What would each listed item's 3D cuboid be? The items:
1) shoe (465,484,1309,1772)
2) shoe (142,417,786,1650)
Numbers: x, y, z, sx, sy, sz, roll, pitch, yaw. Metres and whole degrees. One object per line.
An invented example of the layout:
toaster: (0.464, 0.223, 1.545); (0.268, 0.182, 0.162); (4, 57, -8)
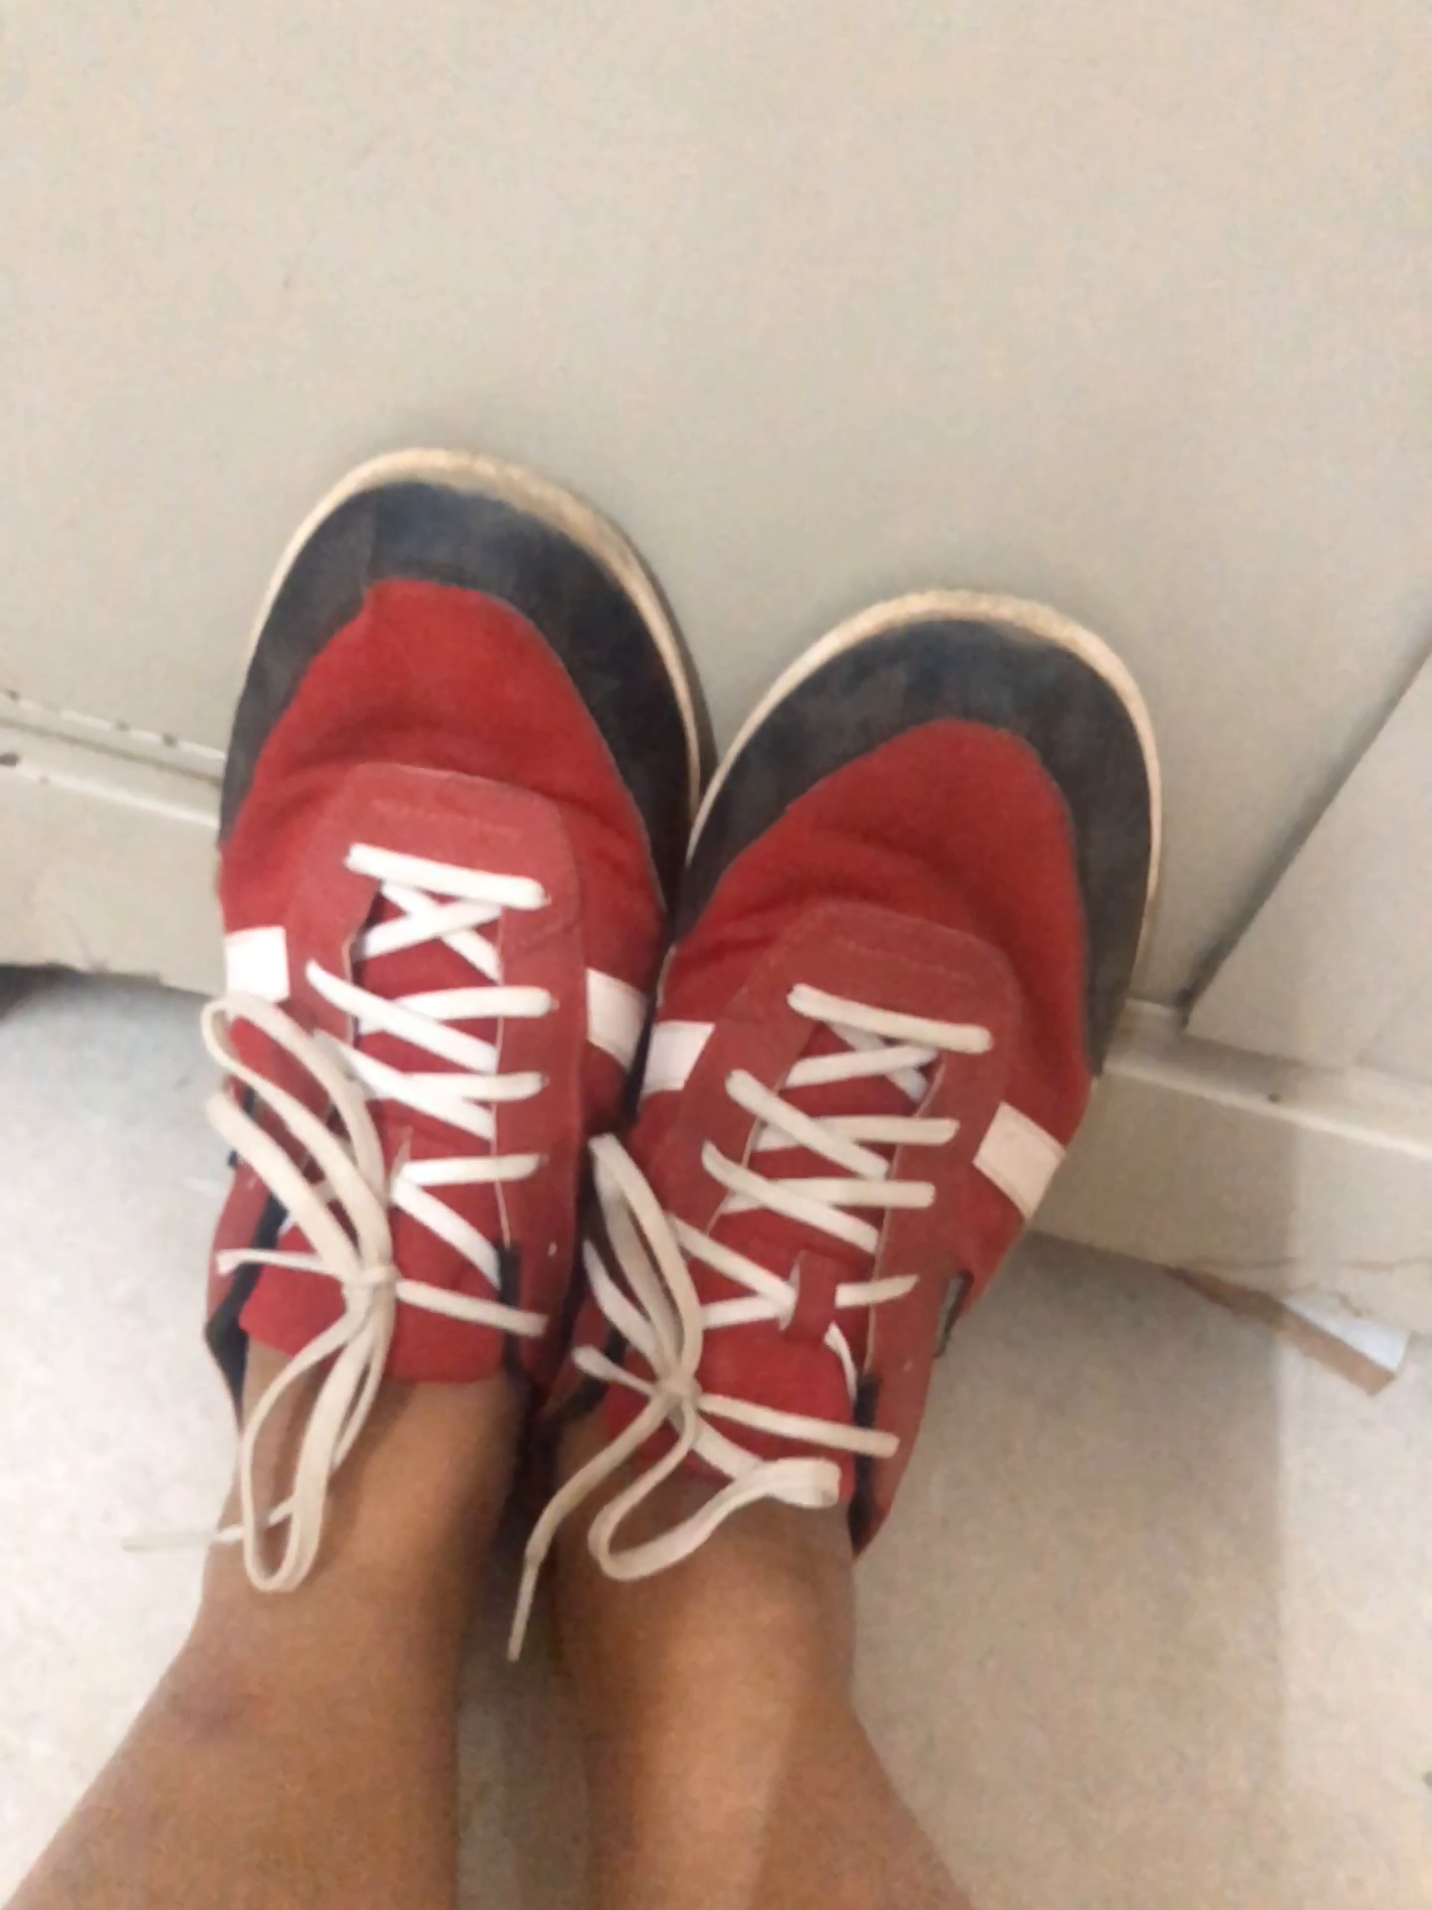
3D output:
shoe: (0.025, 0.038, 0.347); (0.100, 0.249, 0.080); (14, 18, -1)
shoe: (-0.056, 0.018, 0.325); (0.100, 0.229, 0.080); (3, 19, -10)
